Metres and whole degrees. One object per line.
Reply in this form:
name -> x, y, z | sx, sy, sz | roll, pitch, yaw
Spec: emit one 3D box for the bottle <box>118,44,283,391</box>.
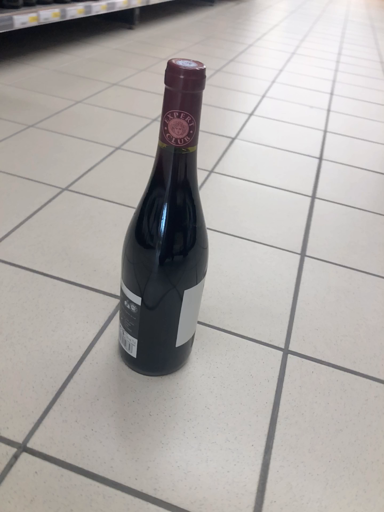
bottle -> -0.013, -0.014, 0.371 | 0.090, 0.288, 0.090 | 6, 35, -4
